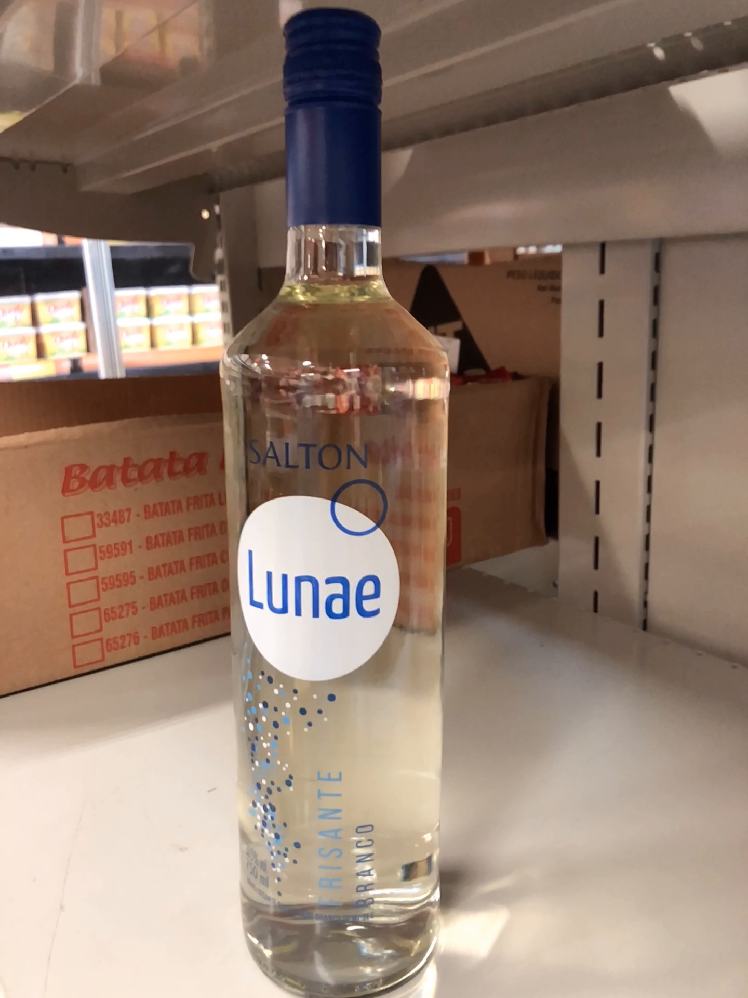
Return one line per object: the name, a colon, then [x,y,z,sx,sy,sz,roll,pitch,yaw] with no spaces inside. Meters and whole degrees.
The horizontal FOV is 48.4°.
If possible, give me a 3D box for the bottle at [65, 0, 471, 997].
bottle: [-0.019,0.014,0.272,0.080,0.308,0.080,-3,14,1]
